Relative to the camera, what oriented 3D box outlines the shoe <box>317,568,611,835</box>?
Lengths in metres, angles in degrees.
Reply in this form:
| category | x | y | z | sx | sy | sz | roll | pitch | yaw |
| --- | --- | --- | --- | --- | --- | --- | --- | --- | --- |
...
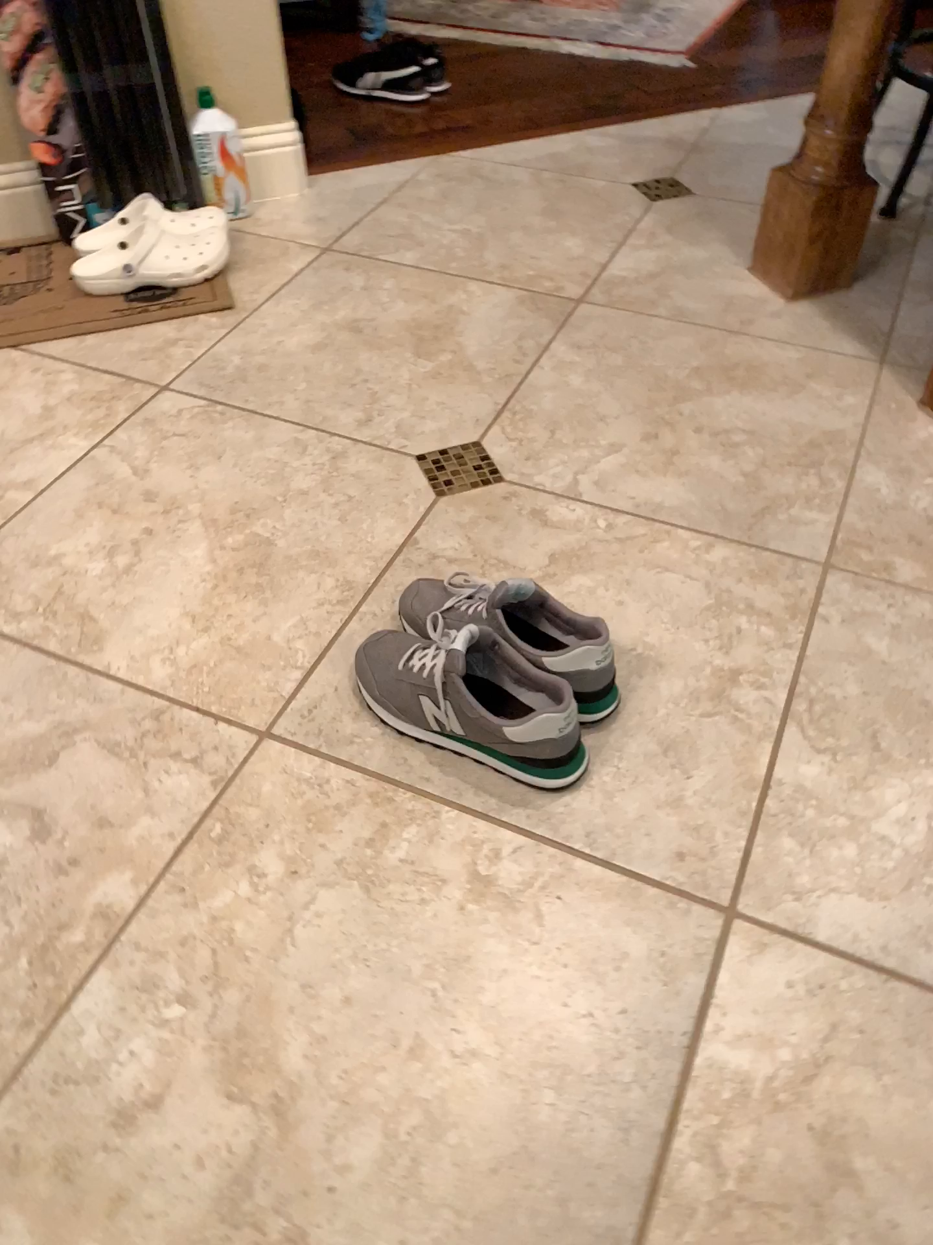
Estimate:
| category | x | y | z | sx | sy | sz | roll | pitch | yaw |
| --- | --- | --- | --- | --- | --- | --- | --- | --- | --- |
| shoe | -0.007 | 0.073 | 0.985 | 0.285 | 0.103 | 0.115 | 31 | 54 | 27 |

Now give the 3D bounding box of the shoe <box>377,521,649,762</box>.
| category | x | y | z | sx | sy | sz | roll | pitch | yaw |
| --- | --- | --- | --- | --- | --- | --- | --- | --- | --- |
| shoe | 0.045 | 0.014 | 1.048 | 0.275 | 0.103 | 0.115 | 31 | 54 | 27 |
